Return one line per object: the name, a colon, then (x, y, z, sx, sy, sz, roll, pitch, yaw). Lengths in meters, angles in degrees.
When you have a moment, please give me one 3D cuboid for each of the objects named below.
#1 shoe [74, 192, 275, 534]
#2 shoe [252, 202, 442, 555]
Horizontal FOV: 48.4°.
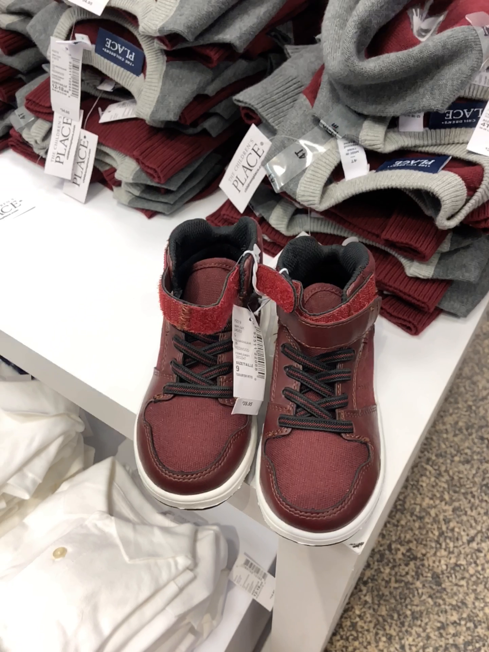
shoe: (-0.025, 0.016, 0.308, 0.070, 0.100, 0.160, 5, 50, 4)
shoe: (0.053, 0.024, 0.327, 0.080, 0.100, 0.180, 5, 50, 4)
